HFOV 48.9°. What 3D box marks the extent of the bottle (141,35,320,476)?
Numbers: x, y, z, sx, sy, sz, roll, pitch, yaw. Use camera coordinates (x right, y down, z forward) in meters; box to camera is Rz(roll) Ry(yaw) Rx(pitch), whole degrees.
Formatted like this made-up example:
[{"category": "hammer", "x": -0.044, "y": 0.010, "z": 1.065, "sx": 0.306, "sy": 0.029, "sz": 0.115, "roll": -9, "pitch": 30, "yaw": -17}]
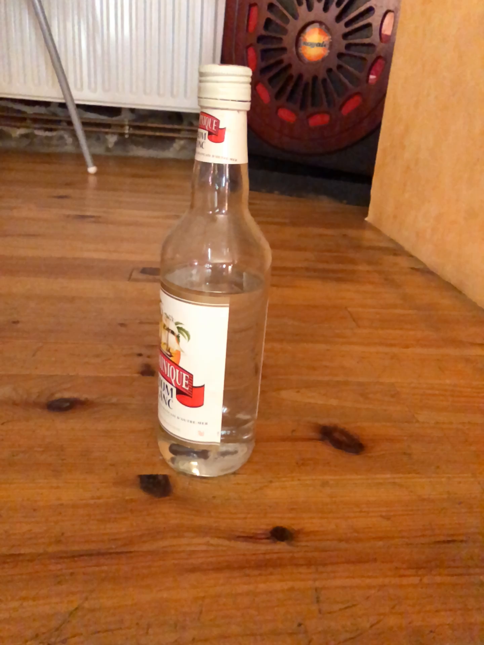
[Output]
[{"category": "bottle", "x": -0.019, "y": -0.037, "z": 0.351, "sx": 0.080, "sy": 0.259, "sz": 0.090, "roll": -4, "pitch": 25, "yaw": -16}]
